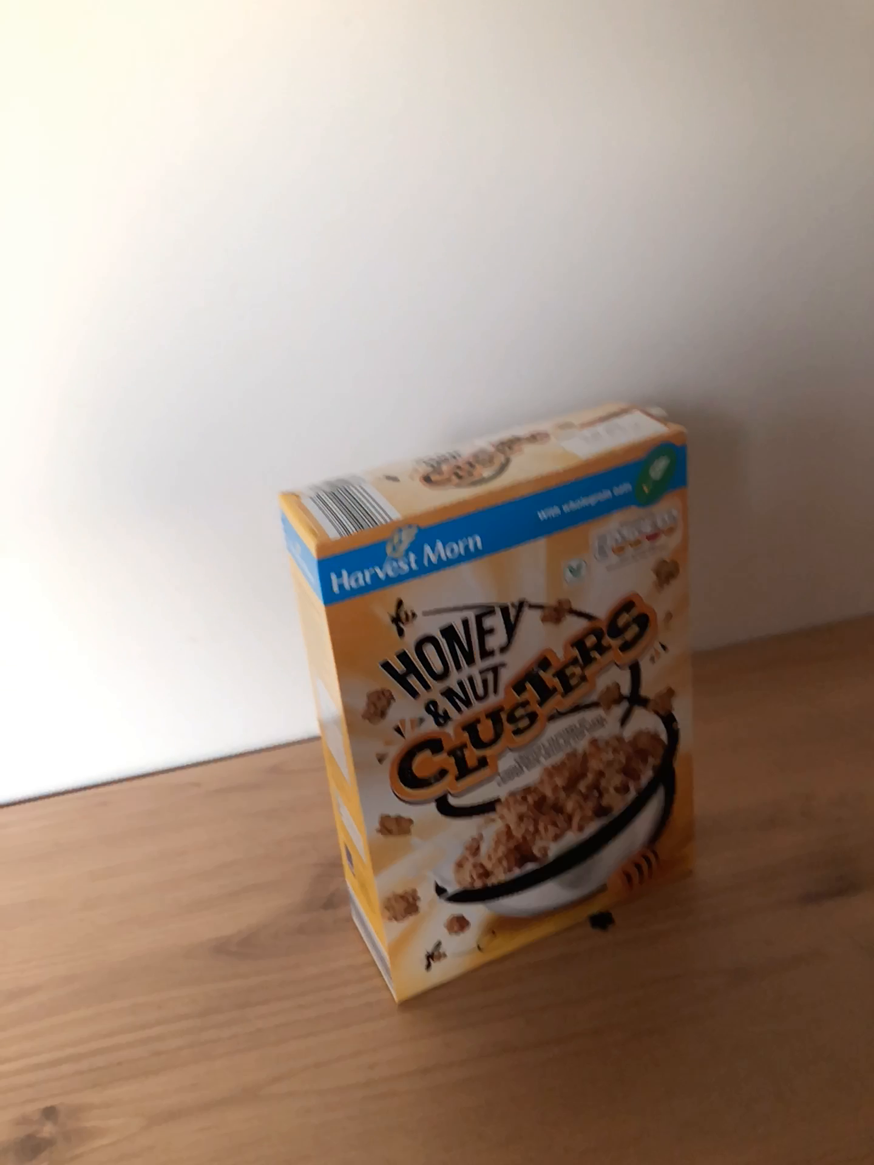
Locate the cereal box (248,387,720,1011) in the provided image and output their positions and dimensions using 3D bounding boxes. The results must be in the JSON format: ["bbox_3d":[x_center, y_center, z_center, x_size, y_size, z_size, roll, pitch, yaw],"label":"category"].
[{"bbox_3d":[0.034,0.055,0.468,0.190,0.248,0.070,-18,29,-19],"label":"cereal box"}]
